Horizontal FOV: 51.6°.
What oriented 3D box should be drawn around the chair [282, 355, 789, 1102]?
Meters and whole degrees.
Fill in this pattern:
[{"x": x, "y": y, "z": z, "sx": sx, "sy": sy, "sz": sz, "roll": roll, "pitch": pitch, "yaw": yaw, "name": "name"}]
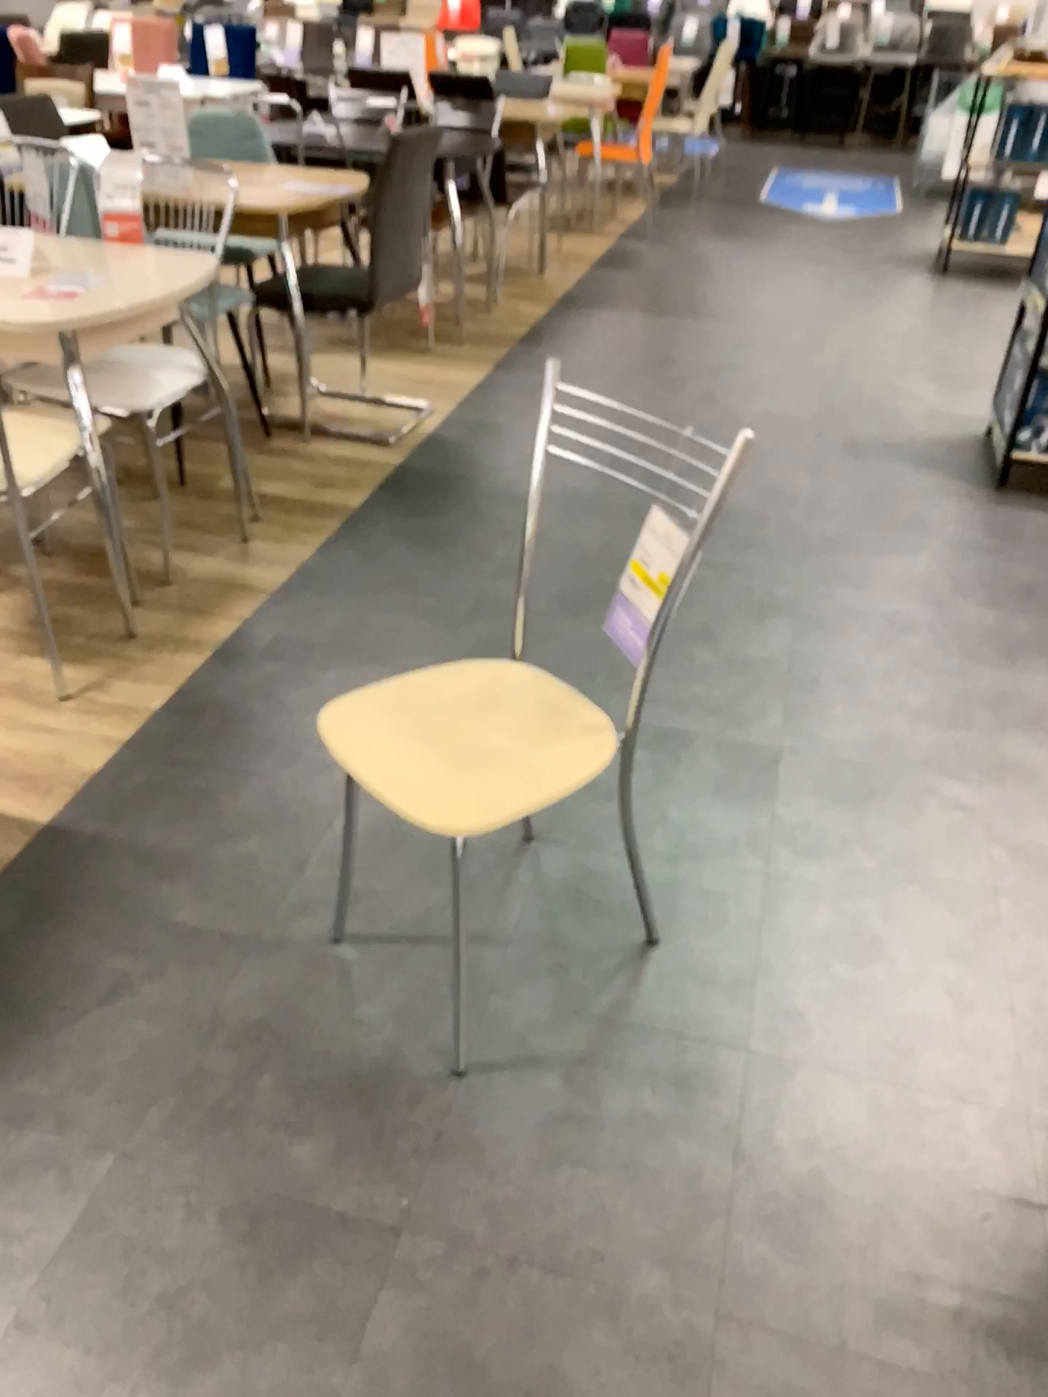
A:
[{"x": -0.002, "y": 0.039, "z": 1.597, "sx": 0.482, "sy": 0.904, "sz": 0.411, "roll": -24, "pitch": 42, "yaw": -34, "name": "chair"}]
